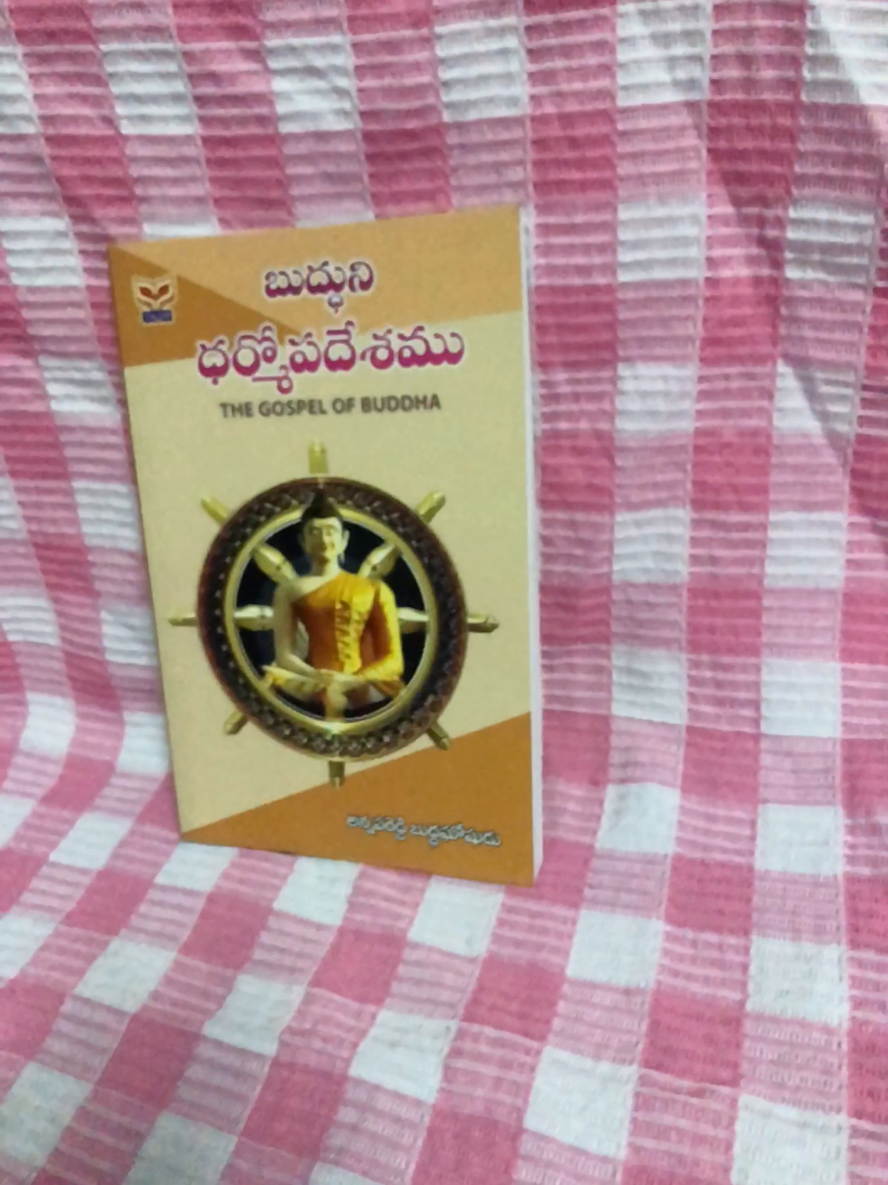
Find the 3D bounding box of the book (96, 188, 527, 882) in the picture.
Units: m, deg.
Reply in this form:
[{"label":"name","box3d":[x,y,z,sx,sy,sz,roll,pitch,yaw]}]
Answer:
[{"label":"book","box3d":[-0.044,-0.015,0.333,0.140,0.210,0.020,2,10,22]}]
